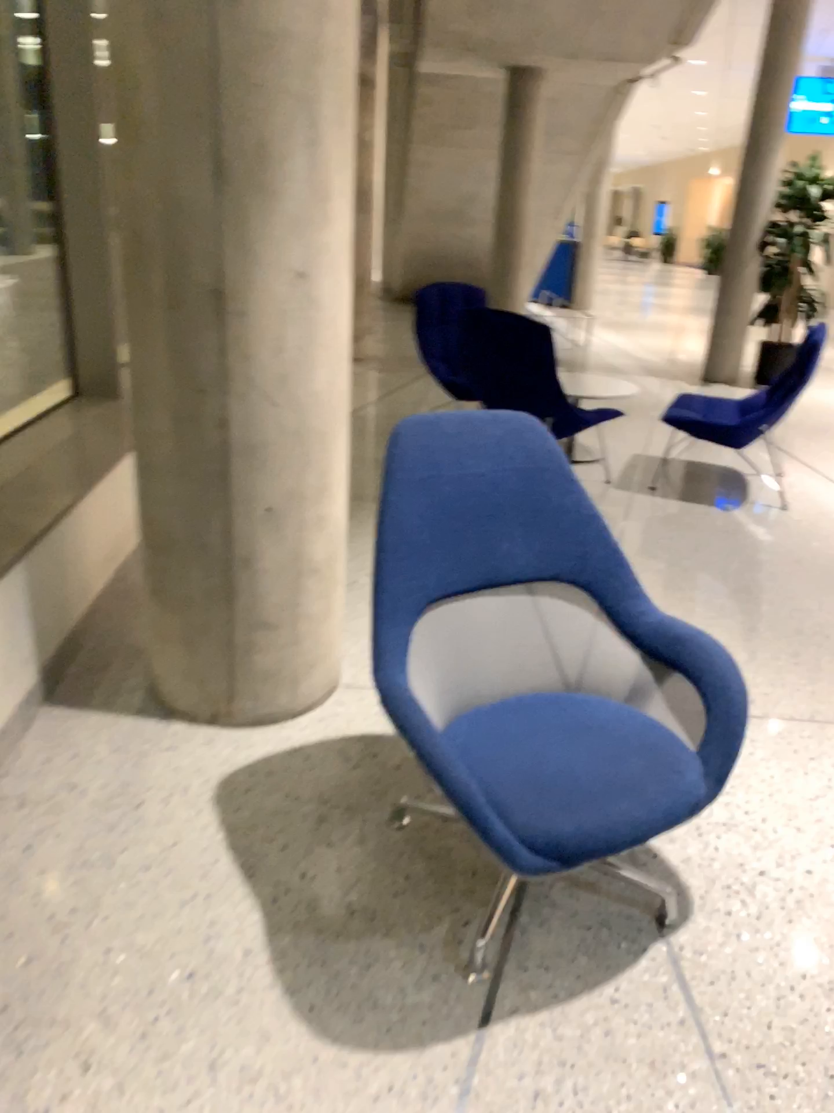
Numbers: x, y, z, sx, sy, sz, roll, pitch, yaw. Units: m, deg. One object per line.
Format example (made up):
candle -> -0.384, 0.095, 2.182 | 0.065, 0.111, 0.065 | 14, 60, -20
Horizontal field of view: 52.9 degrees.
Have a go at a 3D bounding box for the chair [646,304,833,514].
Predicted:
chair -> 1.811, -0.870, 4.695 | 0.781, 0.918, 0.890 | 12, 23, 19

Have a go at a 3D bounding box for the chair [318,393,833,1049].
chair -> 0.300, 0.240, 1.738 | 0.816, 0.997, 0.634 | -8, 24, -27
